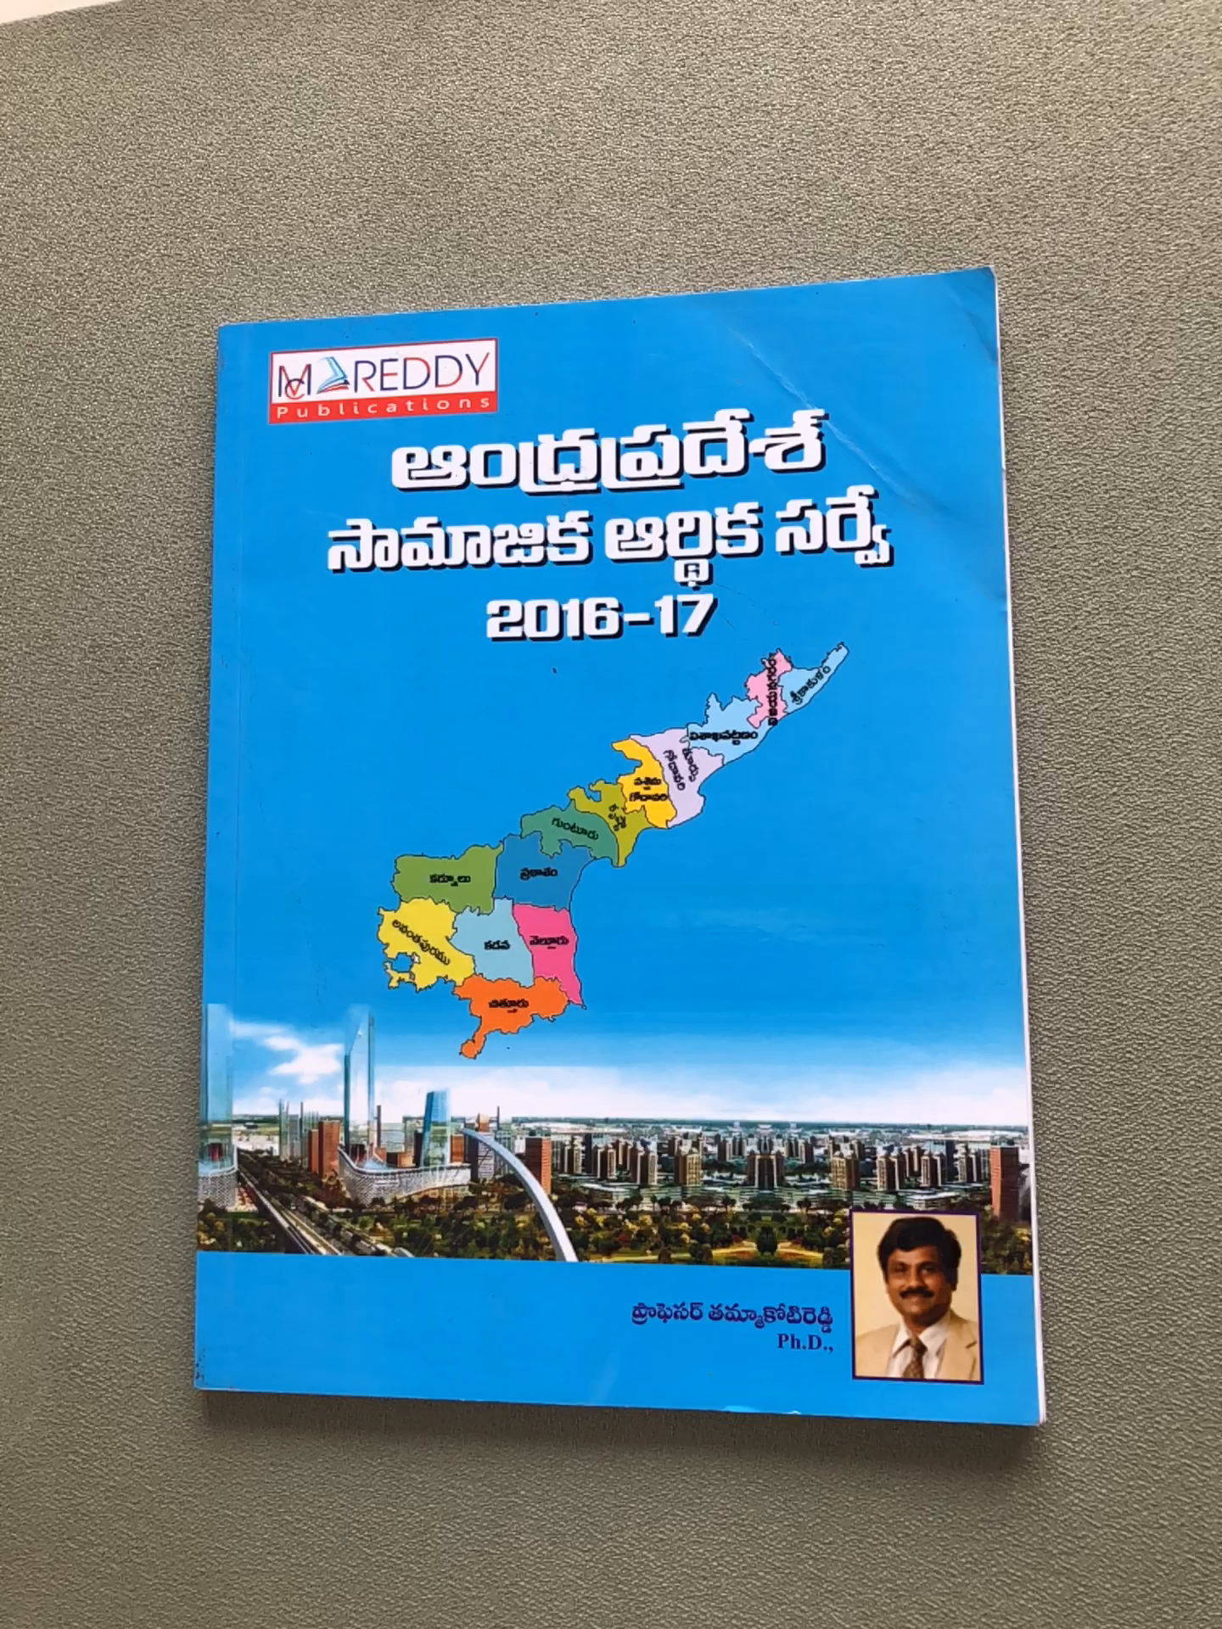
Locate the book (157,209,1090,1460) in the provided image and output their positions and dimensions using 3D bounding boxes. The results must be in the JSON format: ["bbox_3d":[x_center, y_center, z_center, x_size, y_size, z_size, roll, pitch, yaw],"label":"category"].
[{"bbox_3d":[-0.001,0.001,0.281,0.180,0.020,0.240,-1,84,8],"label":"book"}]
